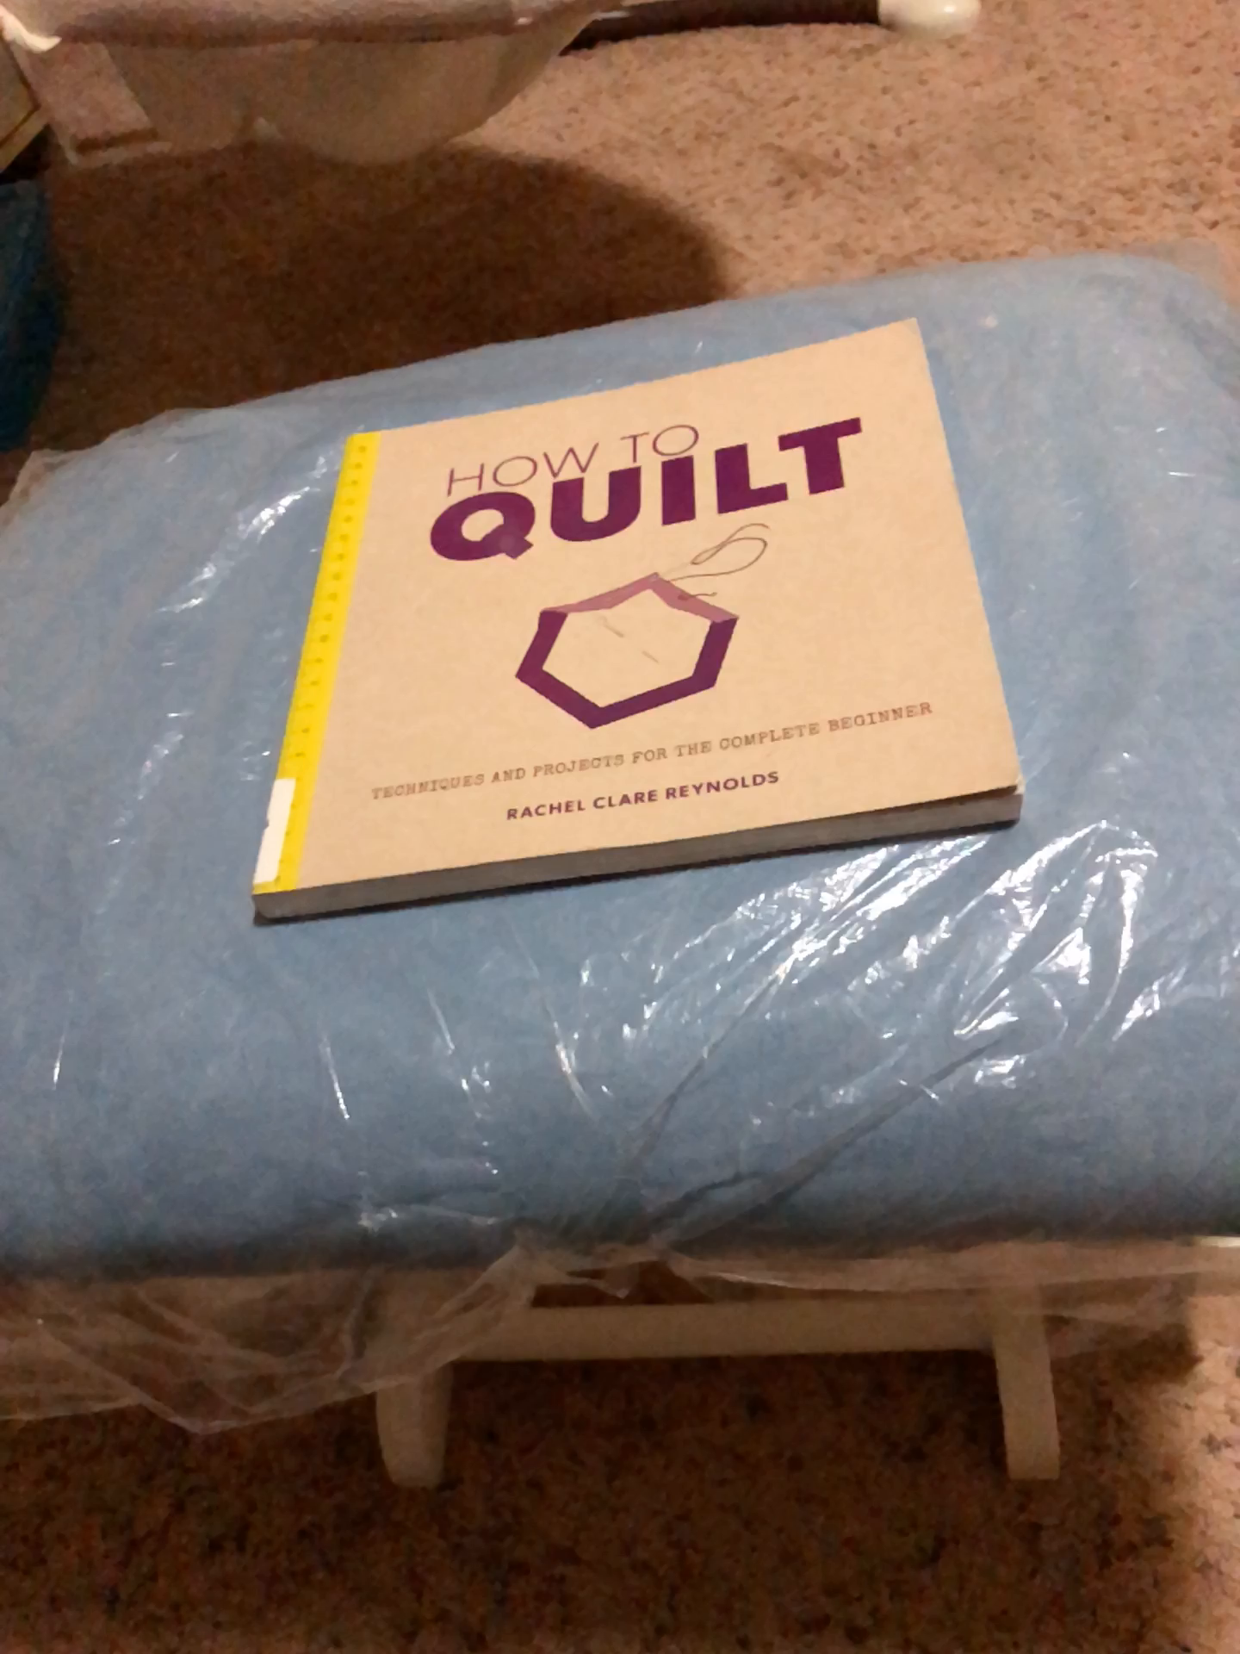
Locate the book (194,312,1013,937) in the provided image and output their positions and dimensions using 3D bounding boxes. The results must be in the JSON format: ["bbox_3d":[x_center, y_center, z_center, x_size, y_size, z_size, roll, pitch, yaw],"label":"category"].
[{"bbox_3d":[-0.007,-0.067,0.404,0.208,0.020,0.194,-8,52,11],"label":"book"}]
